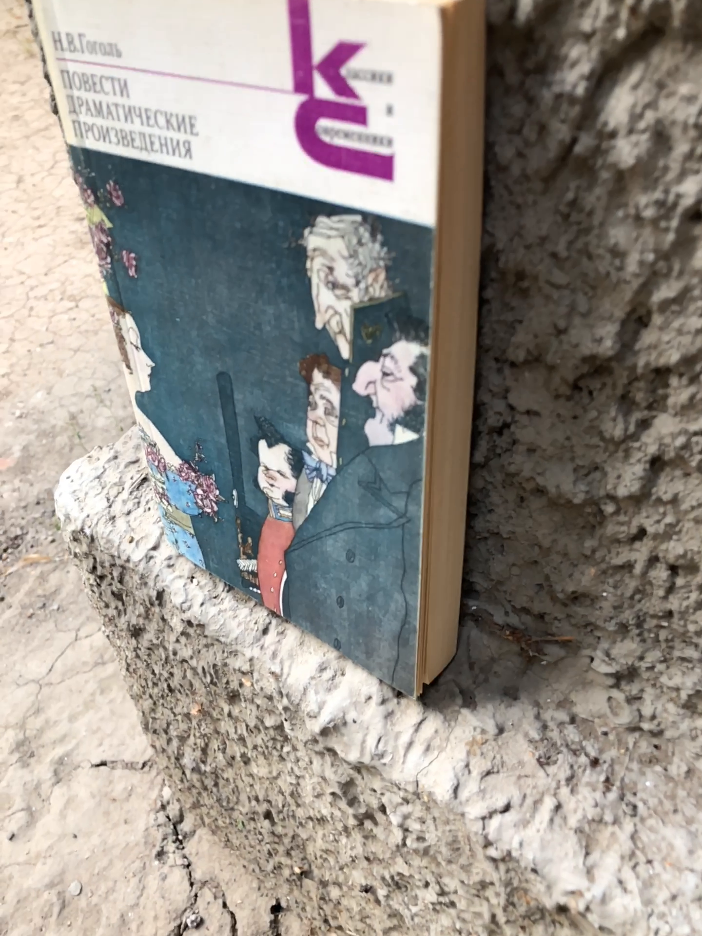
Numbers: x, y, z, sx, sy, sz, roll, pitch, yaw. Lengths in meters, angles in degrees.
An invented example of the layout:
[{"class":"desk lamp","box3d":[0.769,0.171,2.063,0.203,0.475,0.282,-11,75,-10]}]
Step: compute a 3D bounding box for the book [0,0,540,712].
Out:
[{"class":"book","box3d":[-0.029,-0.034,0.223,0.137,0.190,0.030,22,41,28]}]
